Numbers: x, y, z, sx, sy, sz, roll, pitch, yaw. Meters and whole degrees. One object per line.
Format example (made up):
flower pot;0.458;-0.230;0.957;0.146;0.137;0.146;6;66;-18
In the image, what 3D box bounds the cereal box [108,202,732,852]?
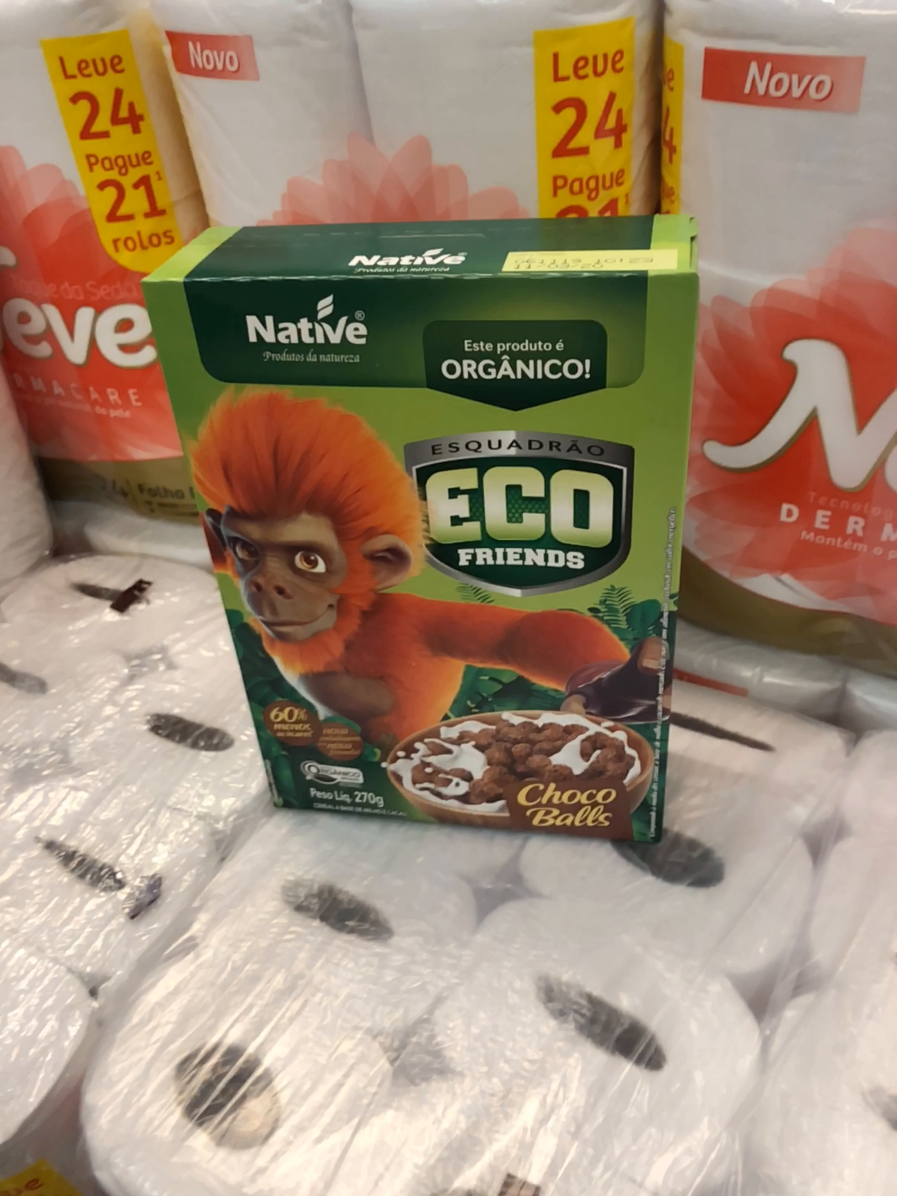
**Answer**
cereal box;0.000;-0.017;0.367;0.180;0.228;0.060;4;36;12
